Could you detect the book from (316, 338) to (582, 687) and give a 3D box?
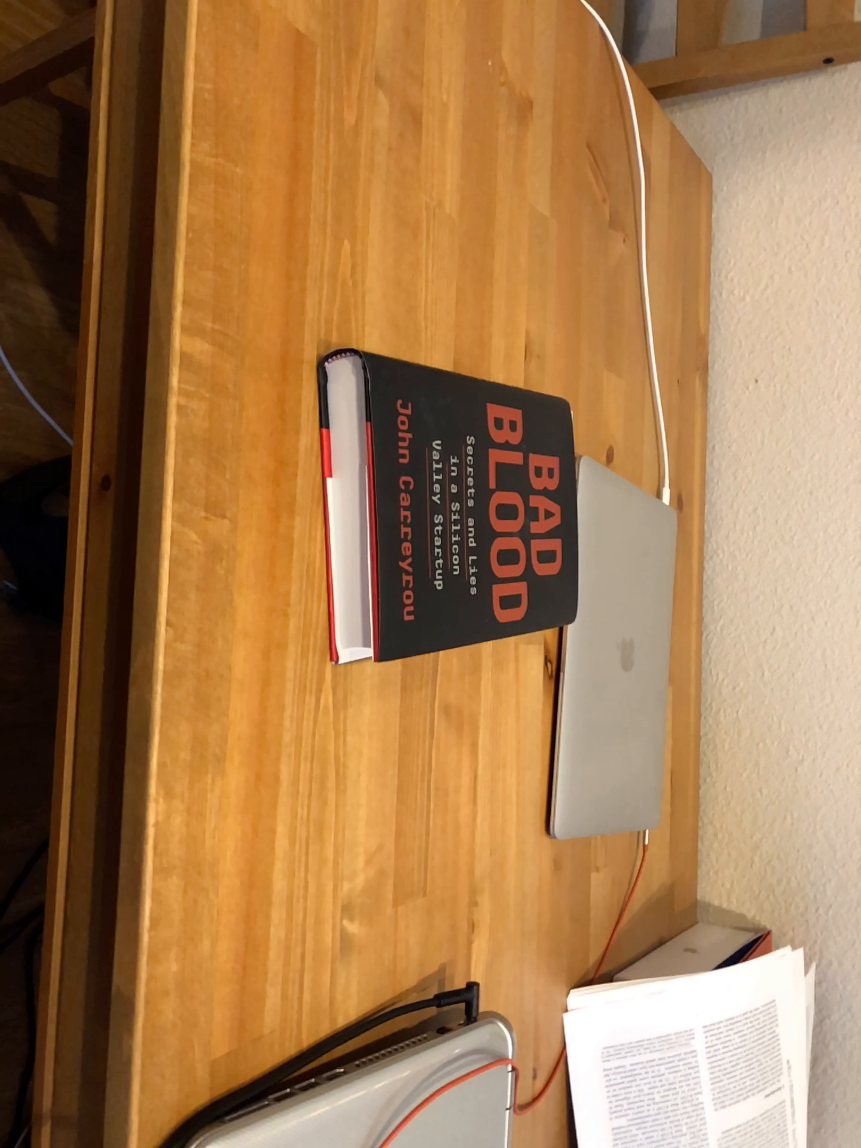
[{"bbox_3d":[0.026,-0.037,0.602,0.252,0.030,0.178,-5,94,-56],"label":"book"}]
